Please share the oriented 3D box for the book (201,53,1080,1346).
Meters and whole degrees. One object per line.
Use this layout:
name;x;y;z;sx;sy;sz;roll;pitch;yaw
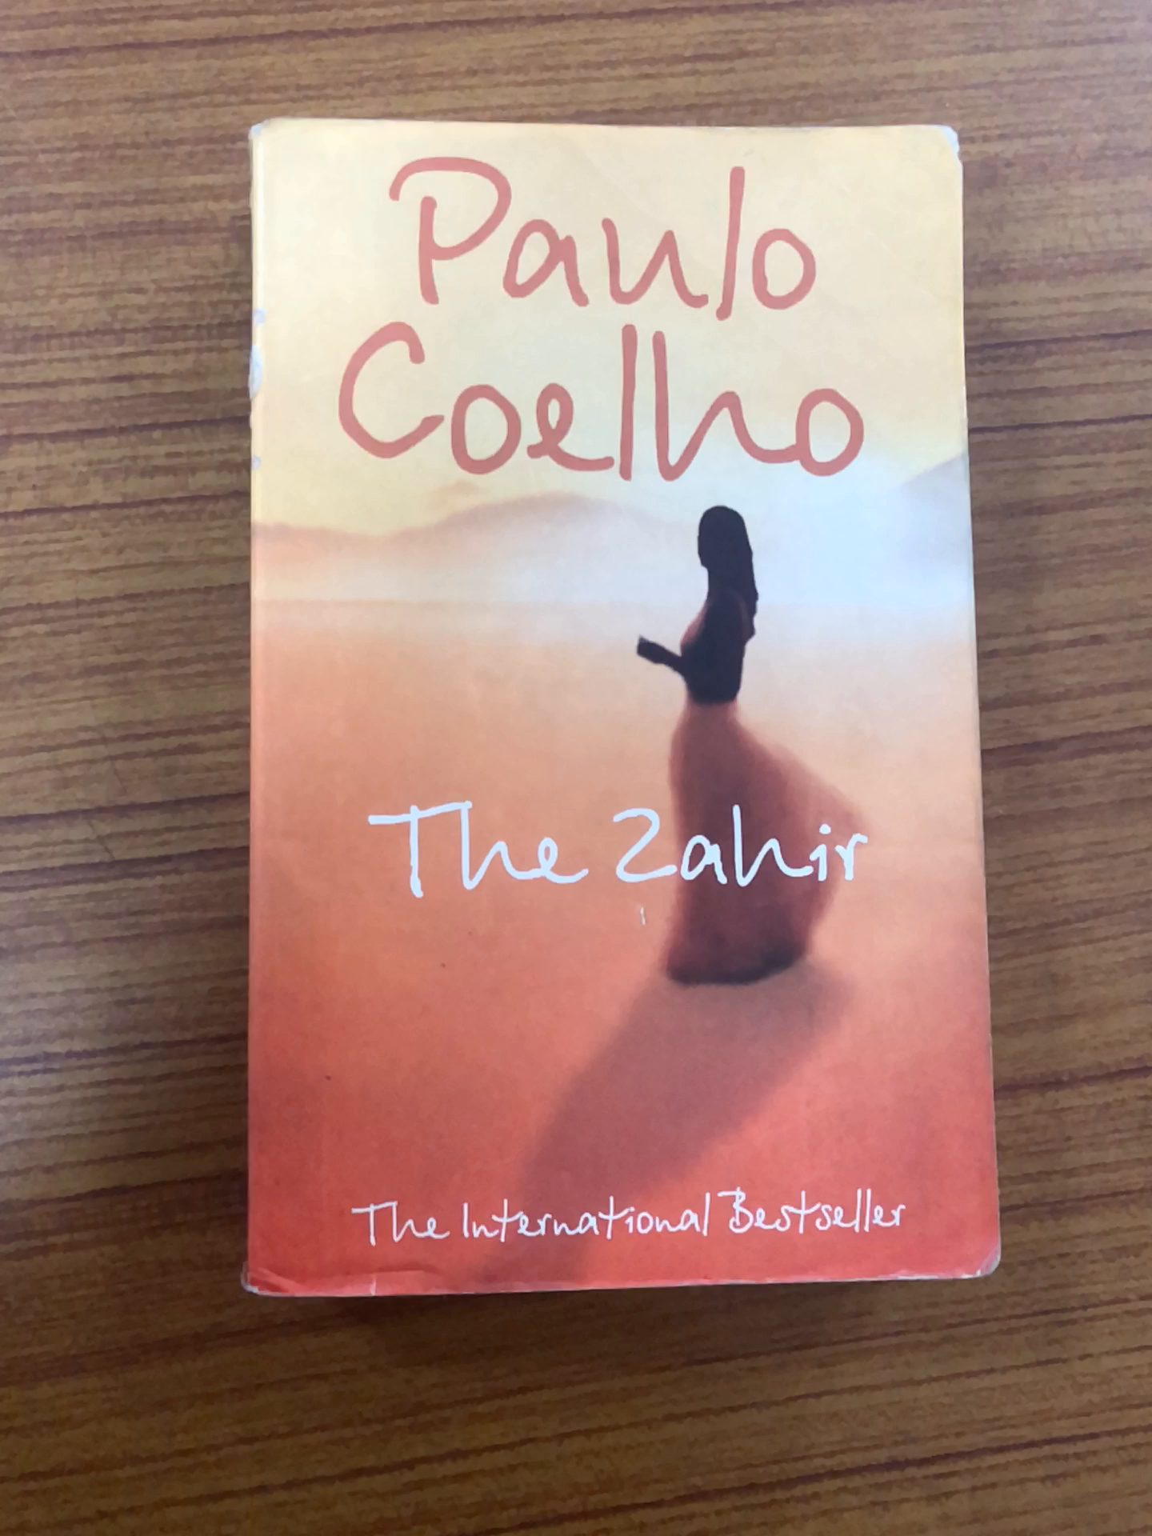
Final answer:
book;0.011;-0.010;0.203;0.120;0.040;0.180;2;85;-5
